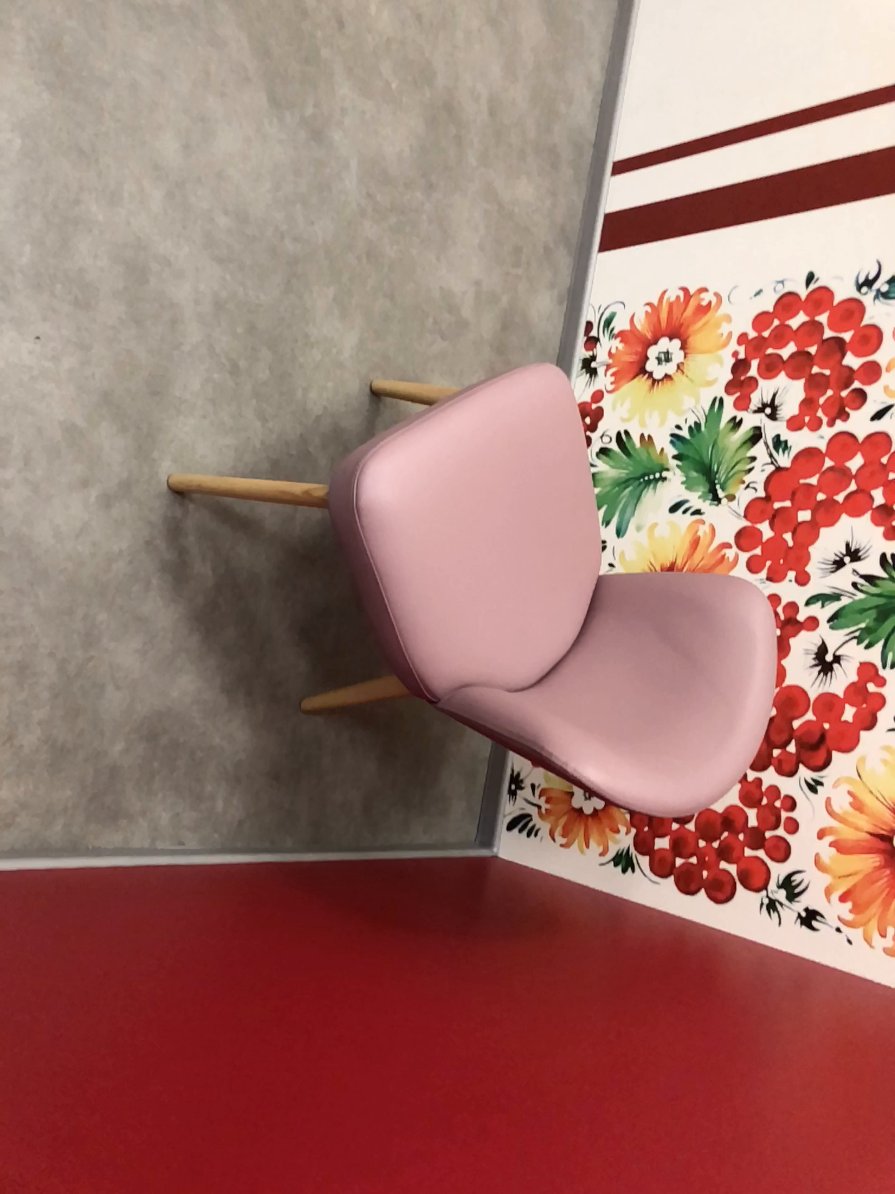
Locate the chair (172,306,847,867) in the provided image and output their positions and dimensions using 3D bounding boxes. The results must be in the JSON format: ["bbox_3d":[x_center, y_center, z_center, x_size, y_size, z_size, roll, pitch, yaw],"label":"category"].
[{"bbox_3d":[0.092,-0.052,1.518,0.513,0.785,0.540,-37,119,-38],"label":"chair"}]
